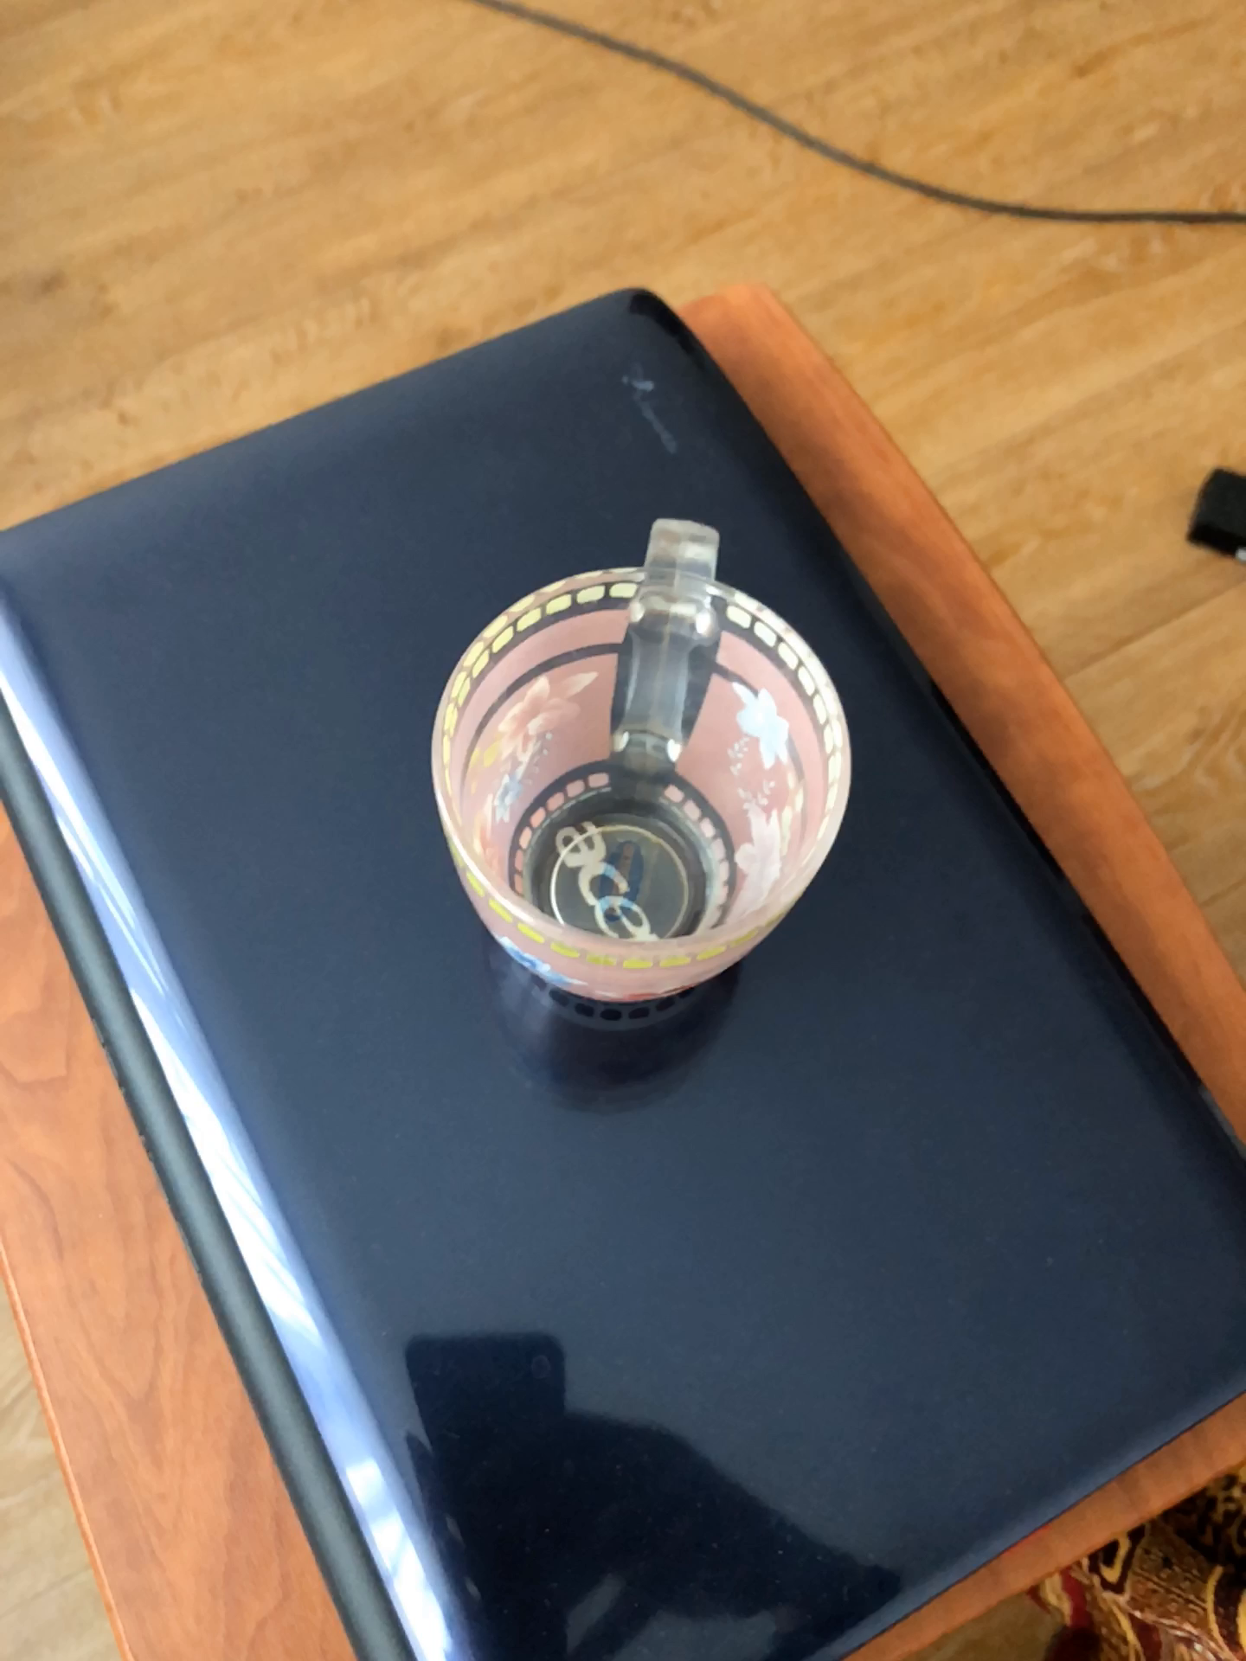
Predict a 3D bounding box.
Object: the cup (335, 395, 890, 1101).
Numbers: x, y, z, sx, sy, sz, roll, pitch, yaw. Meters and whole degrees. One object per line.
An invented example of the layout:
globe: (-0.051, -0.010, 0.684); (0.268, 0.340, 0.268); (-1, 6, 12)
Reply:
cup: (0.001, -0.016, 0.324); (0.095, 0.081, 0.130); (9, 69, 2)
